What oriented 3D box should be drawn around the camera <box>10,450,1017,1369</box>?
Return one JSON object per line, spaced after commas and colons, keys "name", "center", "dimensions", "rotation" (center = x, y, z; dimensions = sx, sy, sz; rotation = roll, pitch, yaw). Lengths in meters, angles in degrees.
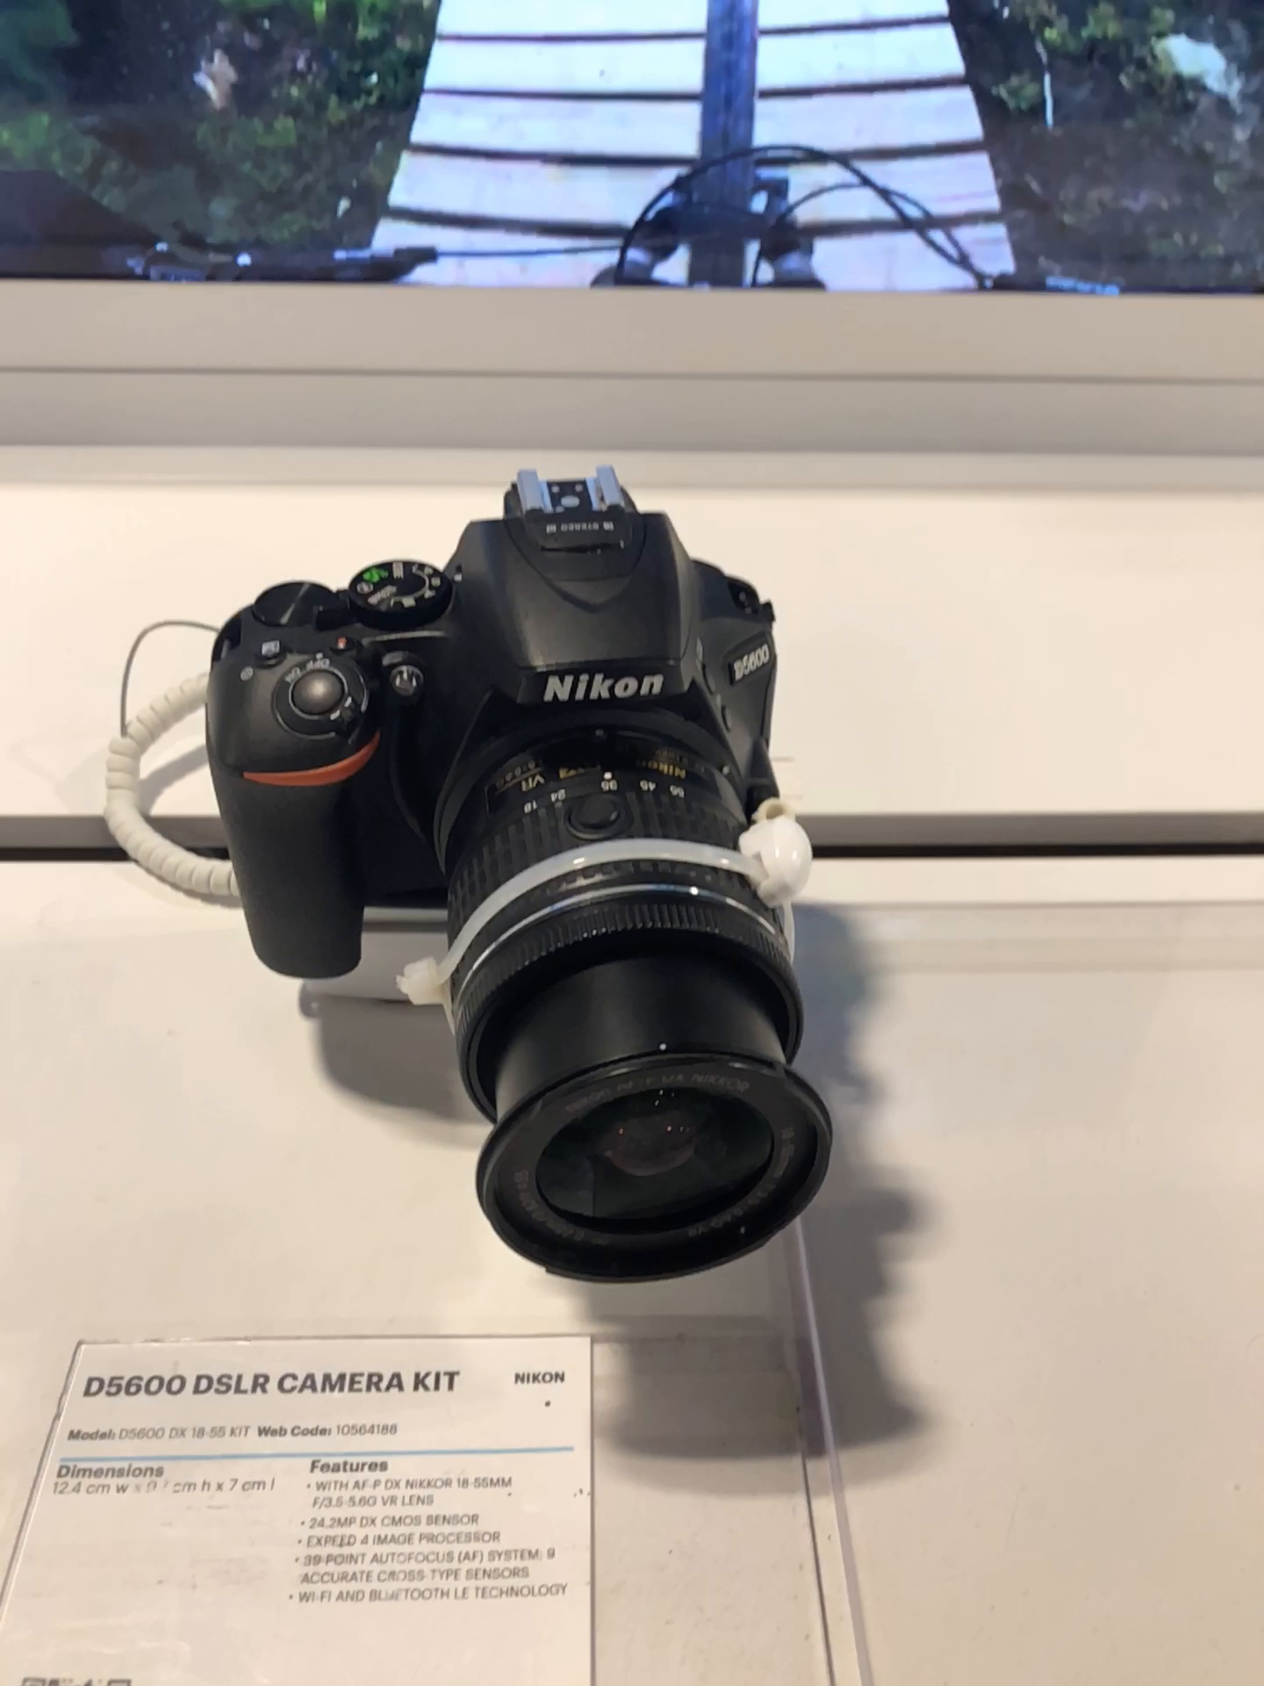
{"name": "camera", "center": [-0.023, 0.002, 0.263], "dimensions": [0.130, 0.089, 0.141], "rotation": [-5, 40, -7]}
